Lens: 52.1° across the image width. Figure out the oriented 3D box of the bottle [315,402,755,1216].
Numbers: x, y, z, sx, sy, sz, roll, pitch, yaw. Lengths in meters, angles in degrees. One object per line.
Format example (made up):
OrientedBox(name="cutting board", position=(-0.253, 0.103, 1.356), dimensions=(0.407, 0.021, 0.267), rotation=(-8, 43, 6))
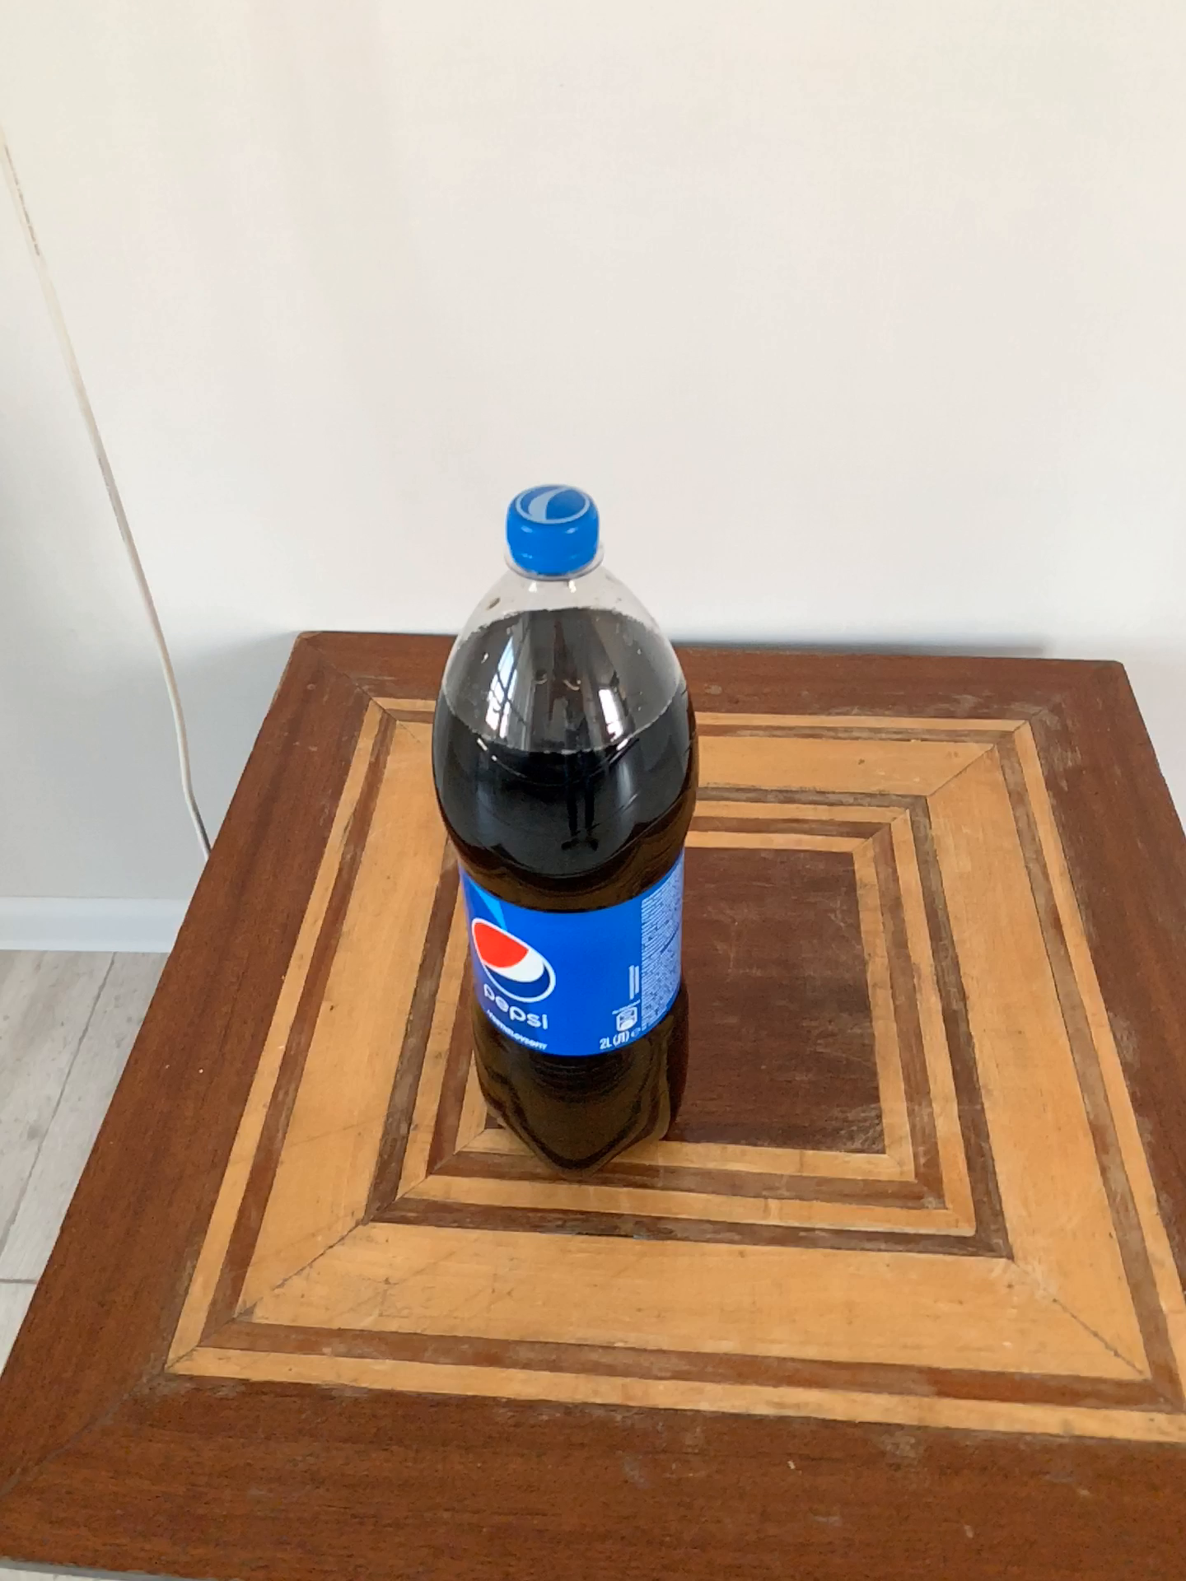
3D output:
OrientedBox(name="bottle", position=(-0.012, 0.031, 0.501), dimensions=(0.100, 0.339, 0.100), rotation=(-1, 44, 1))
